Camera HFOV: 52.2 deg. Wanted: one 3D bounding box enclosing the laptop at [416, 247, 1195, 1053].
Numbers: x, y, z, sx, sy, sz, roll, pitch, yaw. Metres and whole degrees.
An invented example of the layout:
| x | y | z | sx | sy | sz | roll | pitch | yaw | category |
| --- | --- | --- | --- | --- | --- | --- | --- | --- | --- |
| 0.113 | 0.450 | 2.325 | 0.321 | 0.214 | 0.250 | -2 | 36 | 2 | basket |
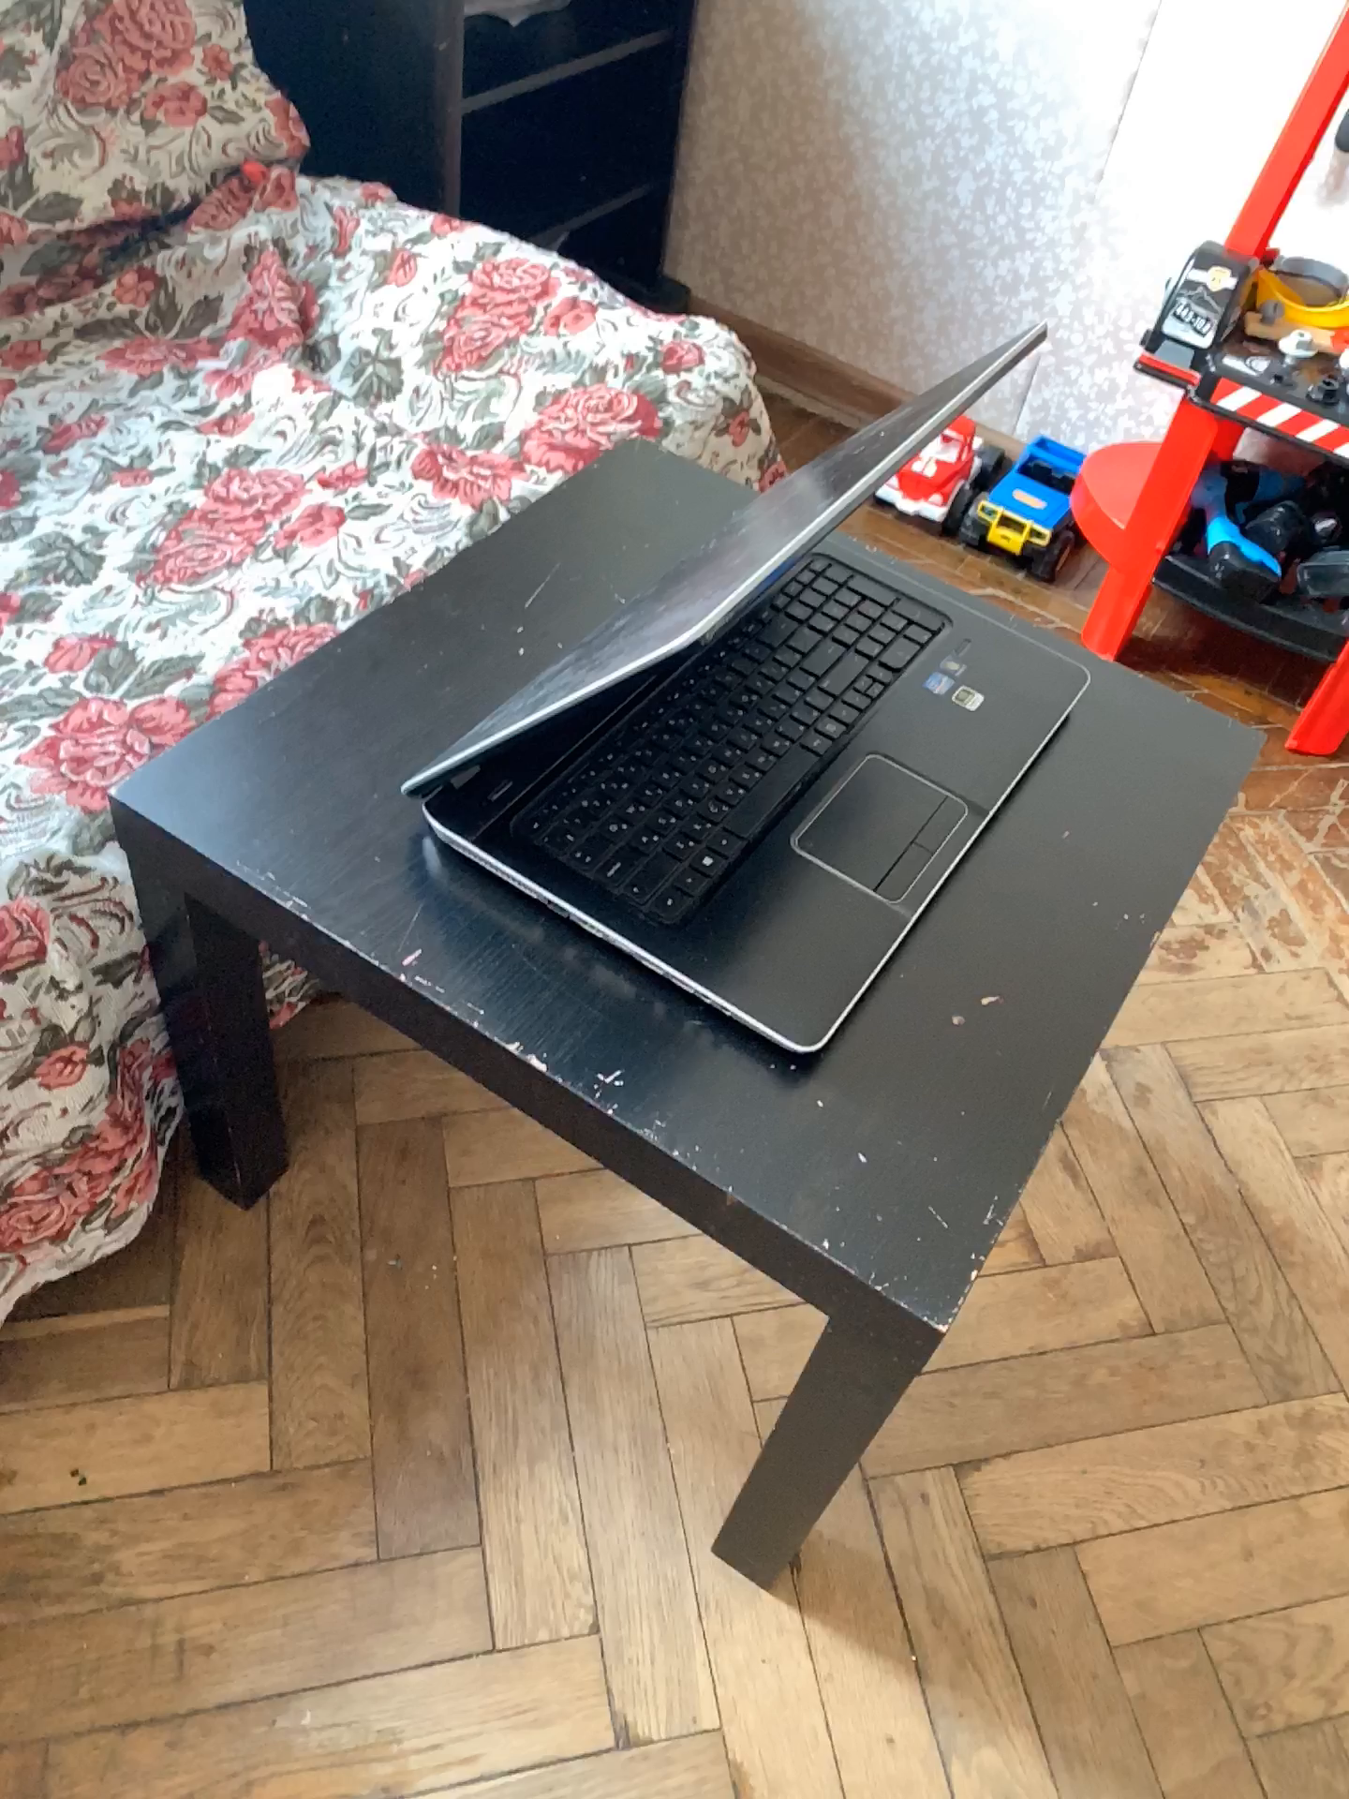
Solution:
| x | y | z | sx | sy | sz | roll | pitch | yaw | category |
| --- | --- | --- | --- | --- | --- | --- | --- | --- | --- |
| 0.081 | -0.169 | 0.796 | 0.257 | 0.201 | 0.406 | 30 | 50 | 15 | laptop |
